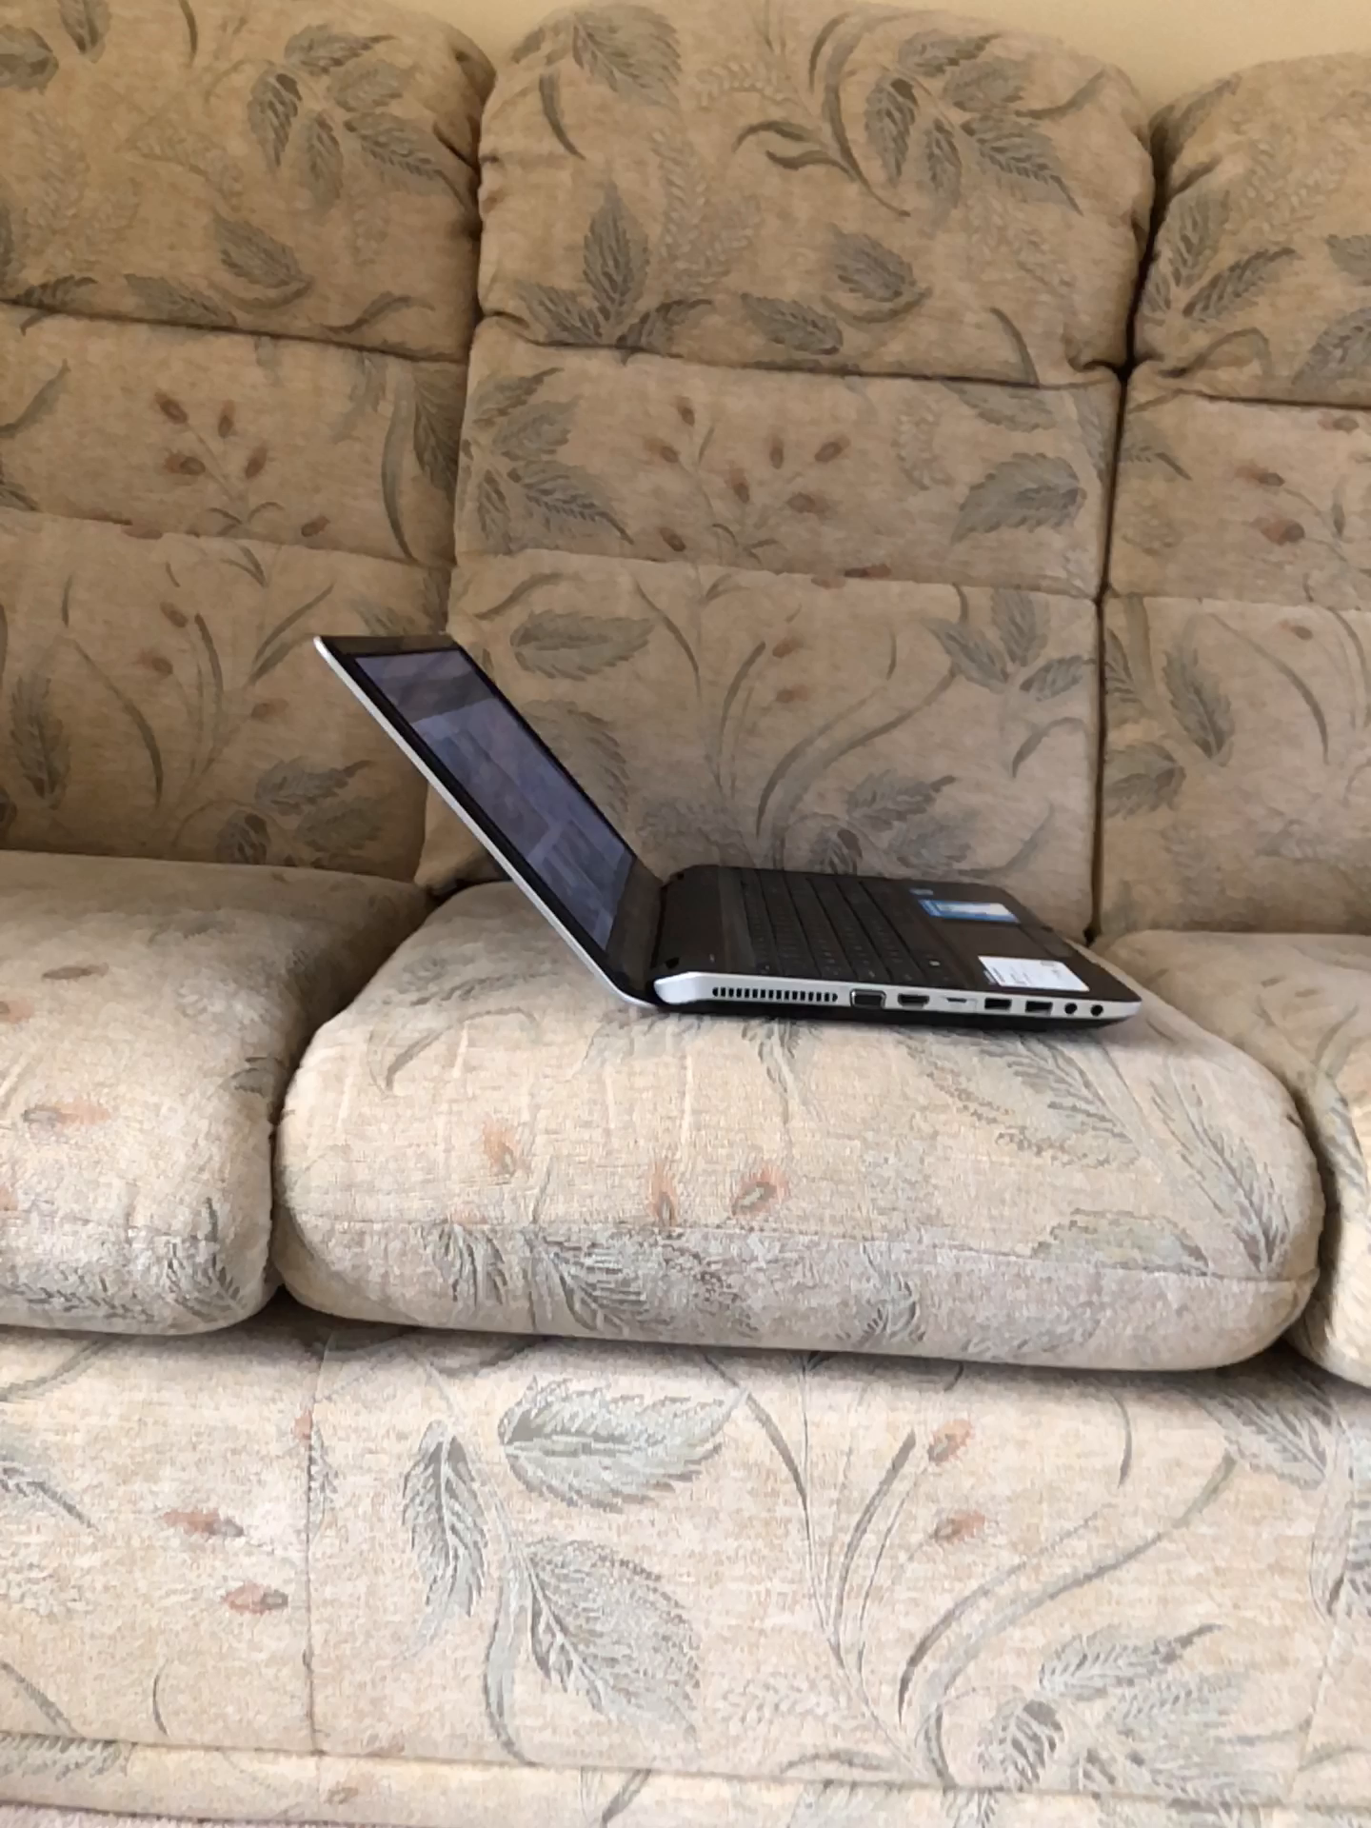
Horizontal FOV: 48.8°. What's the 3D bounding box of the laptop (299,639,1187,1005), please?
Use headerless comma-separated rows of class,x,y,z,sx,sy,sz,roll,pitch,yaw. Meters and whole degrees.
laptop,0.032,-0.072,0.914,0.410,0.151,0.397,4,10,-1
